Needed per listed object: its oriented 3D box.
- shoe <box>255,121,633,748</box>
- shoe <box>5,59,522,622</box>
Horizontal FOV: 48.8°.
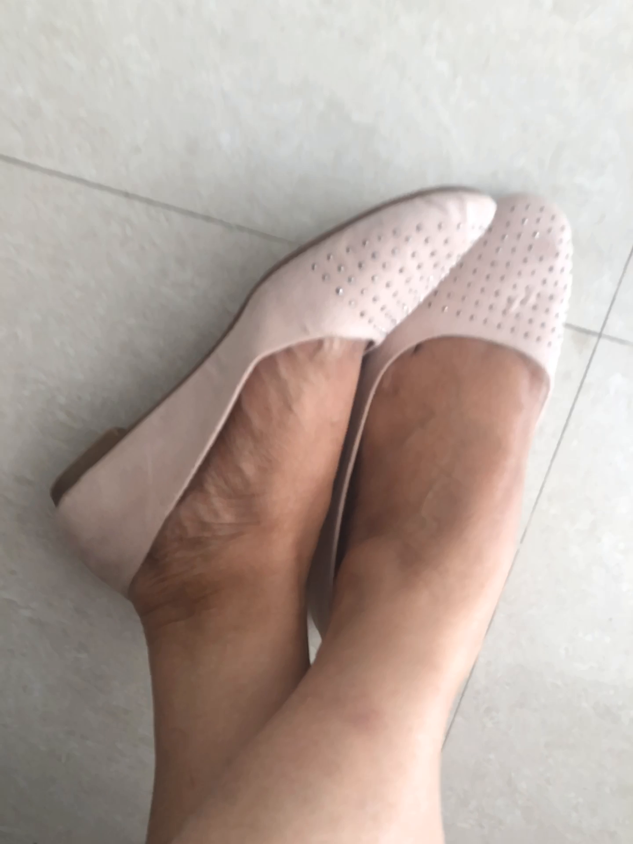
[{"bbox_3d":[0.063,0.011,0.348,0.100,0.080,0.270,20,102,-9],"label":"shoe"},{"bbox_3d":[-0.022,-0.021,0.313,0.240,0.090,0.060,-49,66,12],"label":"shoe"}]
